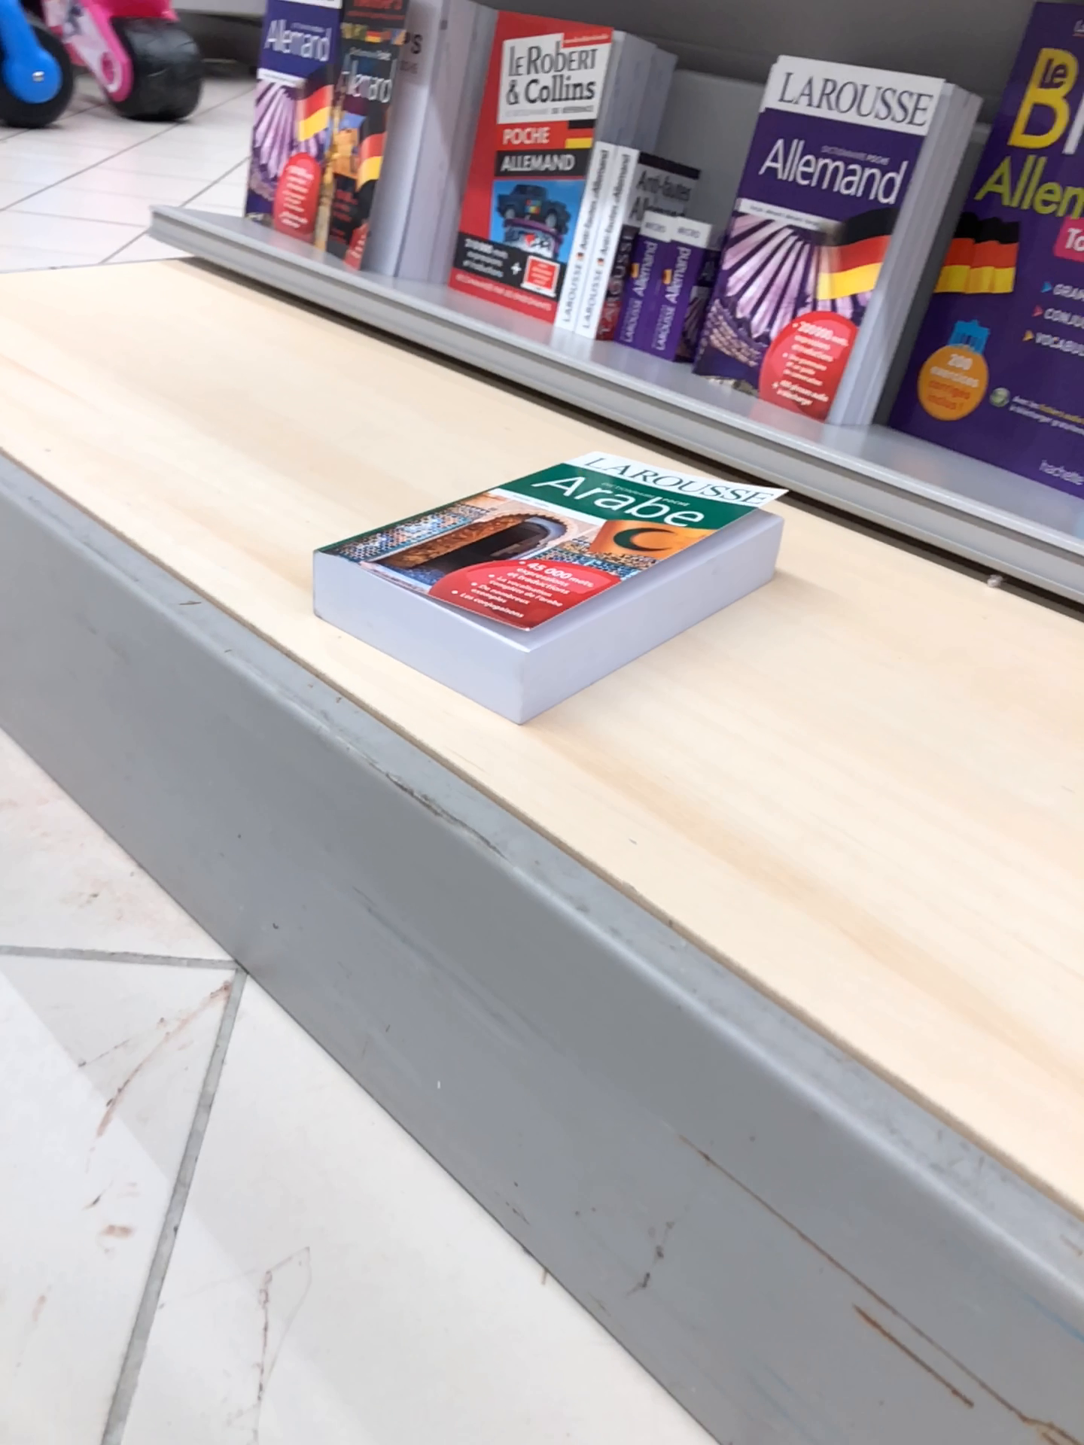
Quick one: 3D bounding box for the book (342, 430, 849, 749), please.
[{"bbox_3d":[0.026,-0.064,0.482,0.111,0.045,0.183,29,38,31],"label":"book"}]
